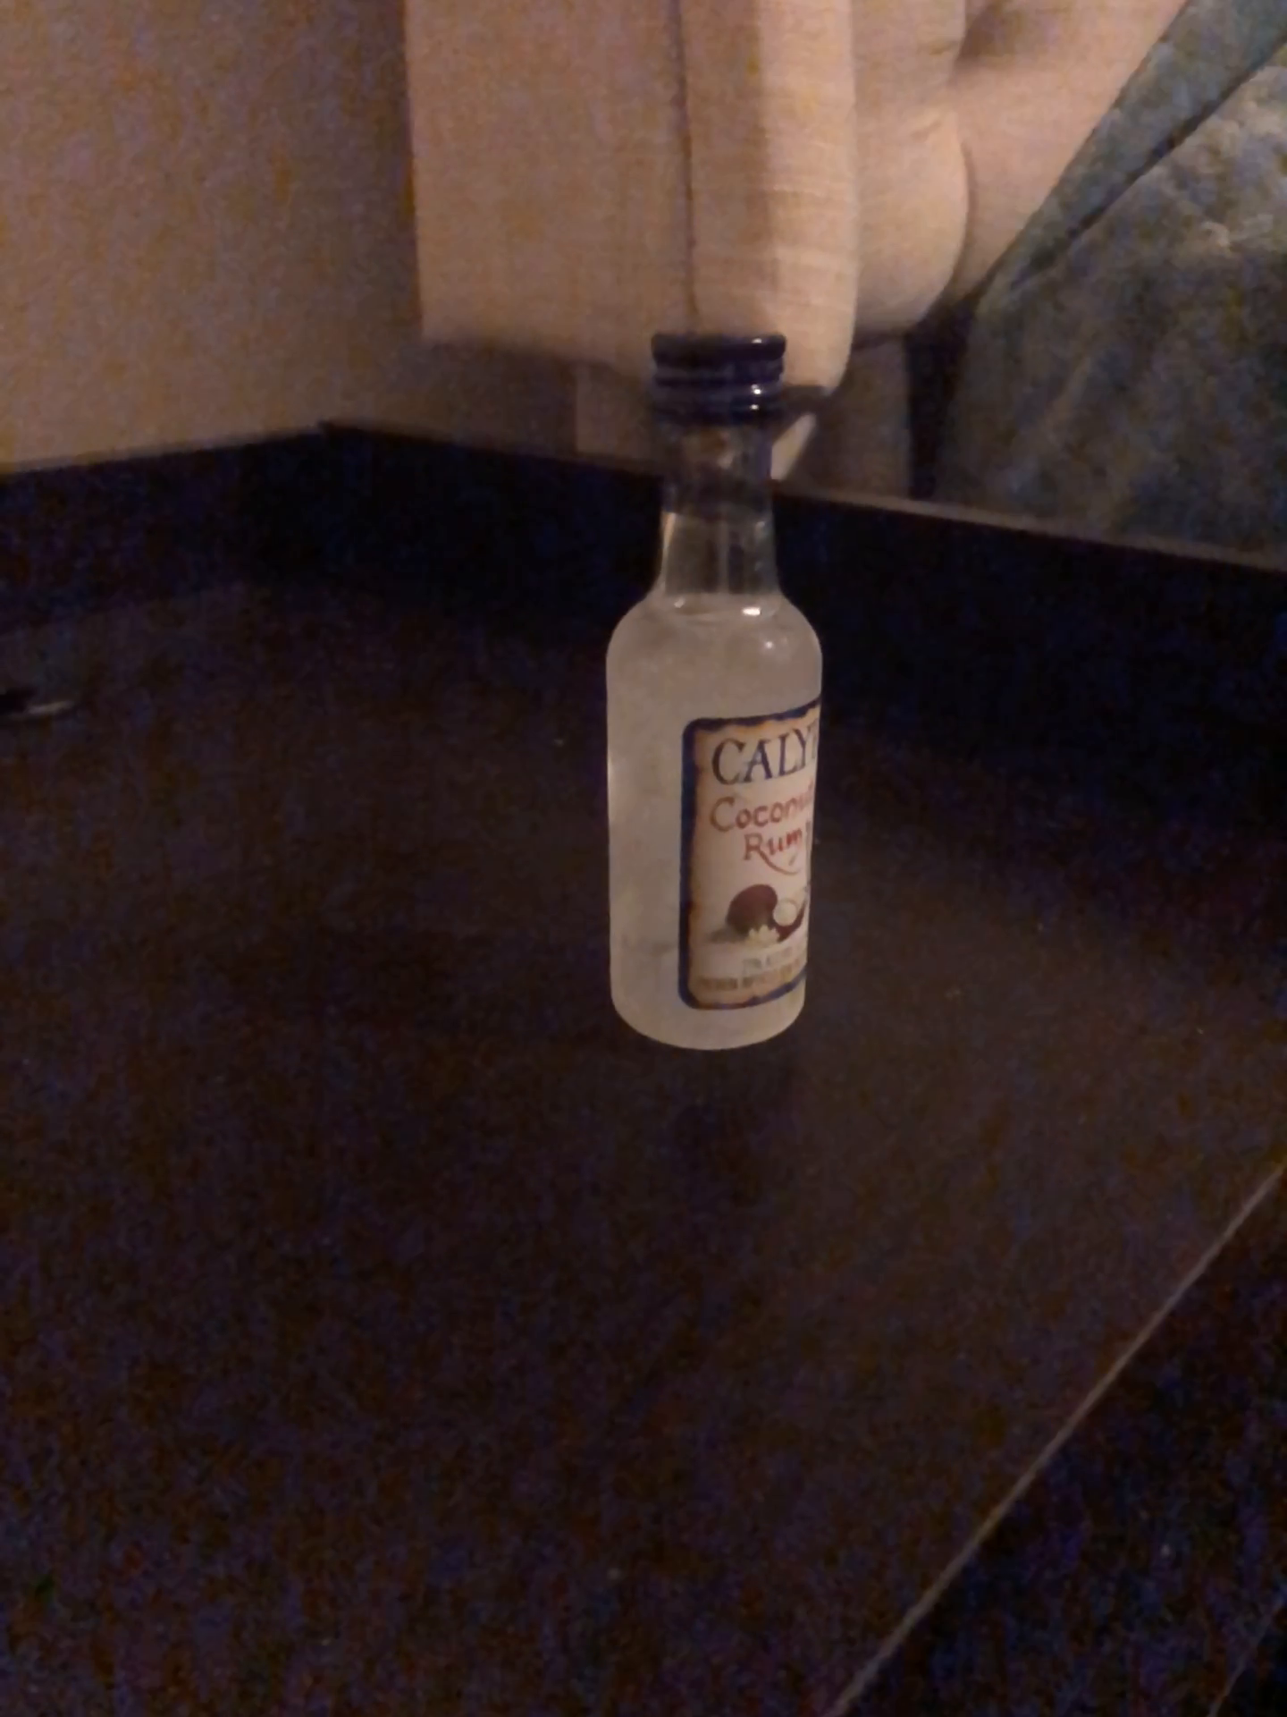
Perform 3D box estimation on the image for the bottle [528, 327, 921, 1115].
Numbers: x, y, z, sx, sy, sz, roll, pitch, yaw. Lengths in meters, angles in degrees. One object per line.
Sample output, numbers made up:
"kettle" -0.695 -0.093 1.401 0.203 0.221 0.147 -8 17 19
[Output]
"bottle" 0.011 -0.022 0.211 0.036 0.104 0.040 17 28 35
